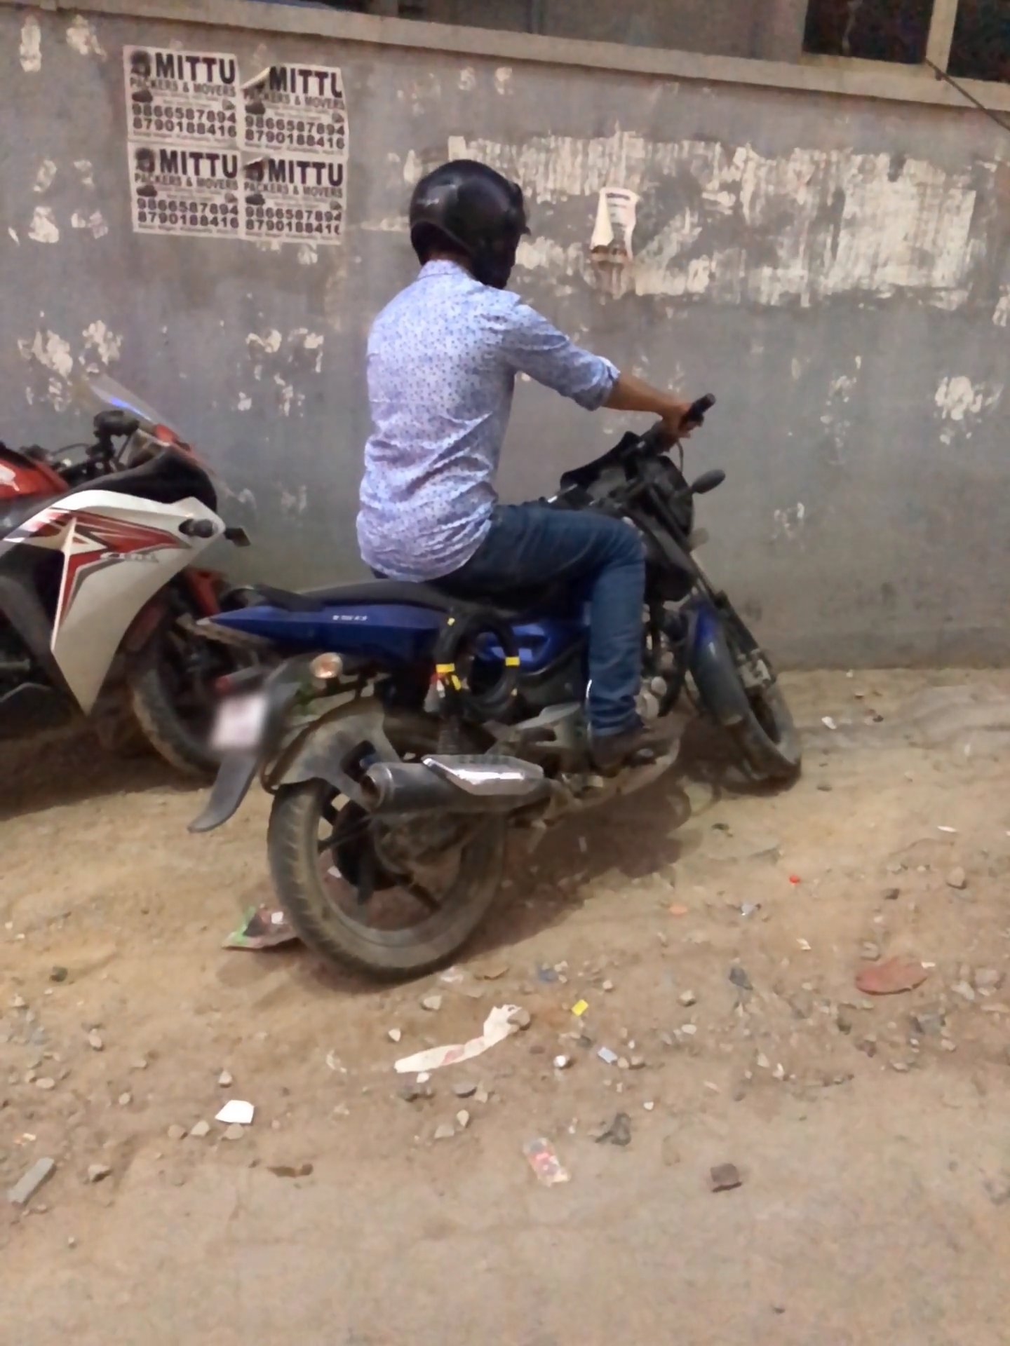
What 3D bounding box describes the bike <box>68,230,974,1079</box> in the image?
[{"bbox_3d":[0.075,-0.243,2.569,1.093,1.113,1.509,19,34,34],"label":"bike"}]
